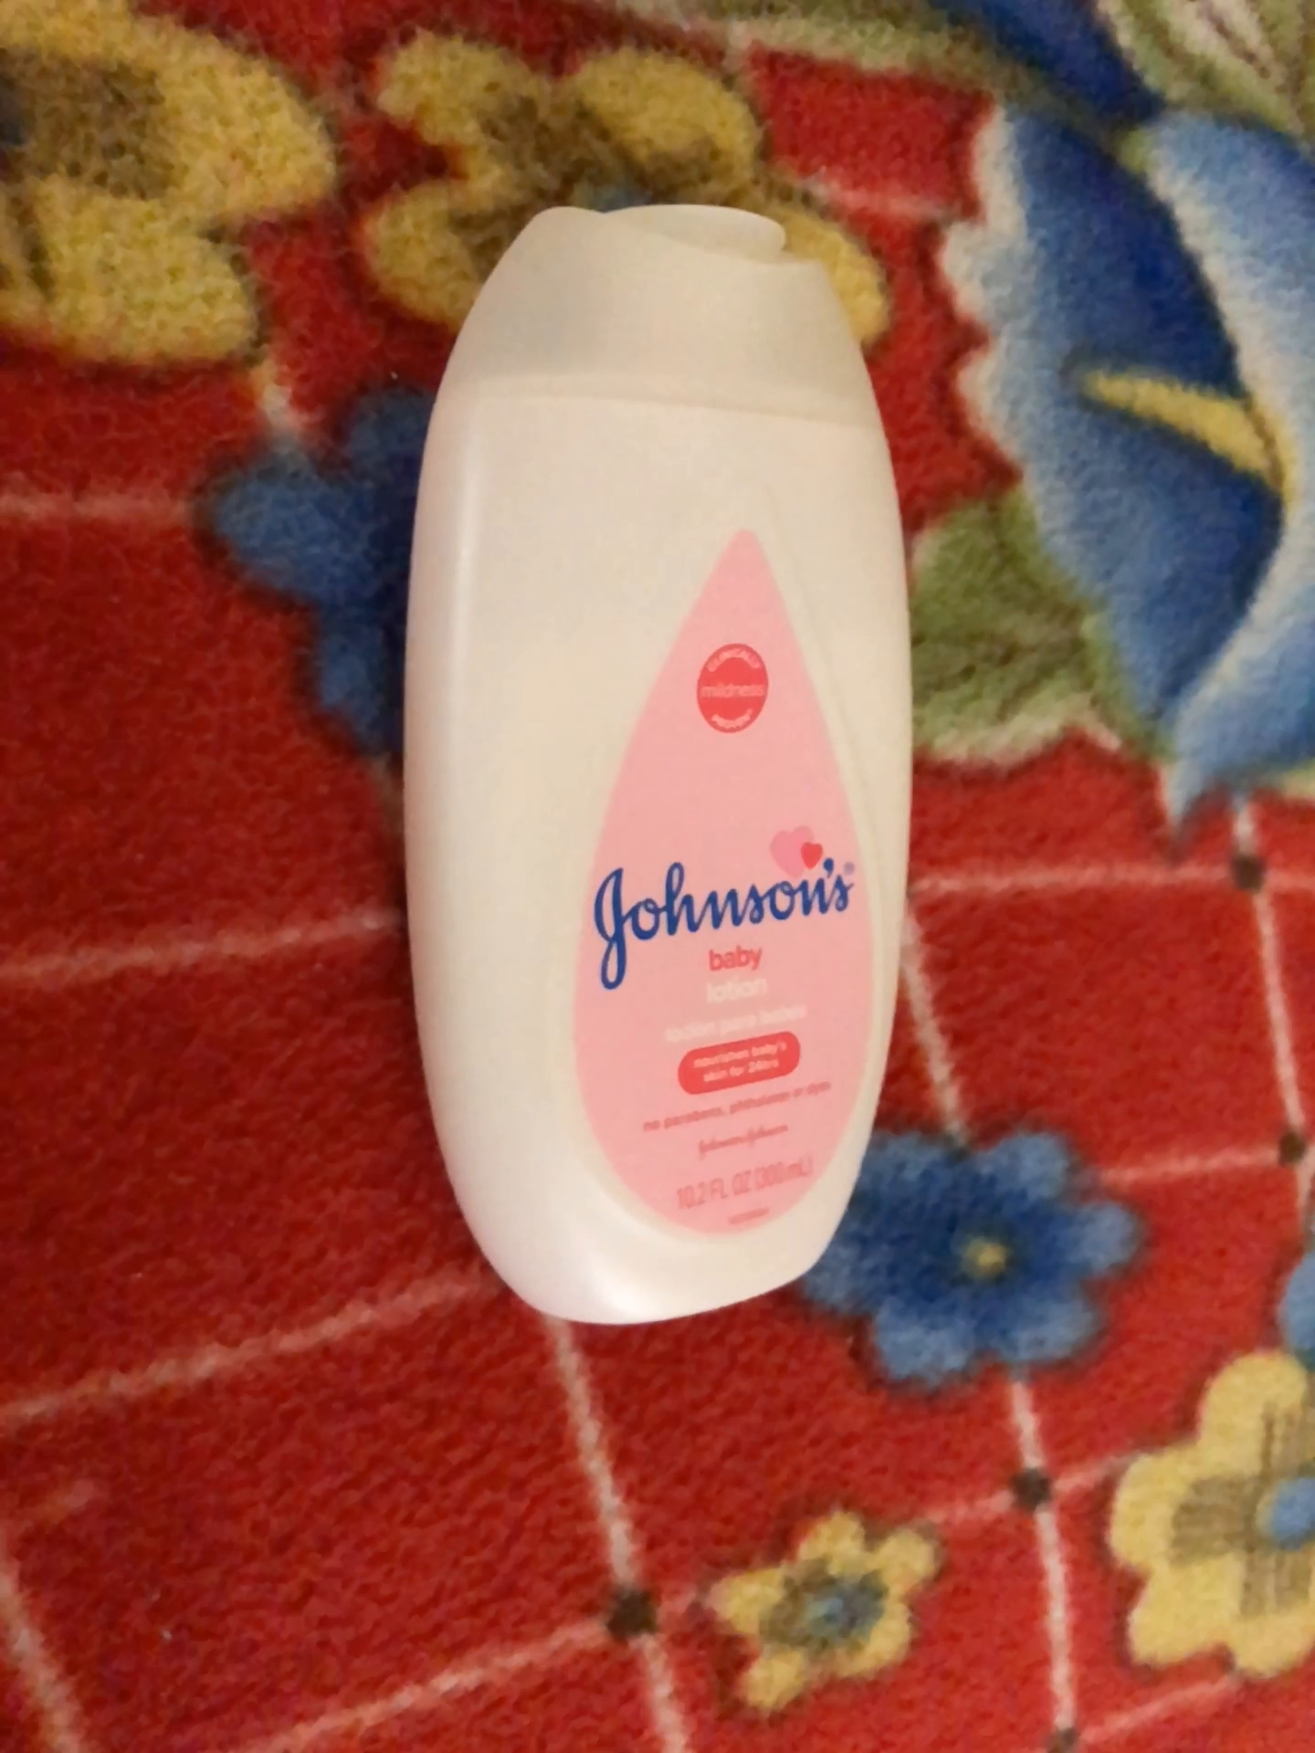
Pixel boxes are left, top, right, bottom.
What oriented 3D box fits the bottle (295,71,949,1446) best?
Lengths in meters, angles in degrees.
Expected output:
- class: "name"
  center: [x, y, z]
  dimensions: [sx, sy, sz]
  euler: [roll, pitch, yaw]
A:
- class: "bottle"
  center: [-0.003, -0.016, 0.216]
  dimensions: [0.080, 0.030, 0.170]
  euler: [-5, 94, -30]
